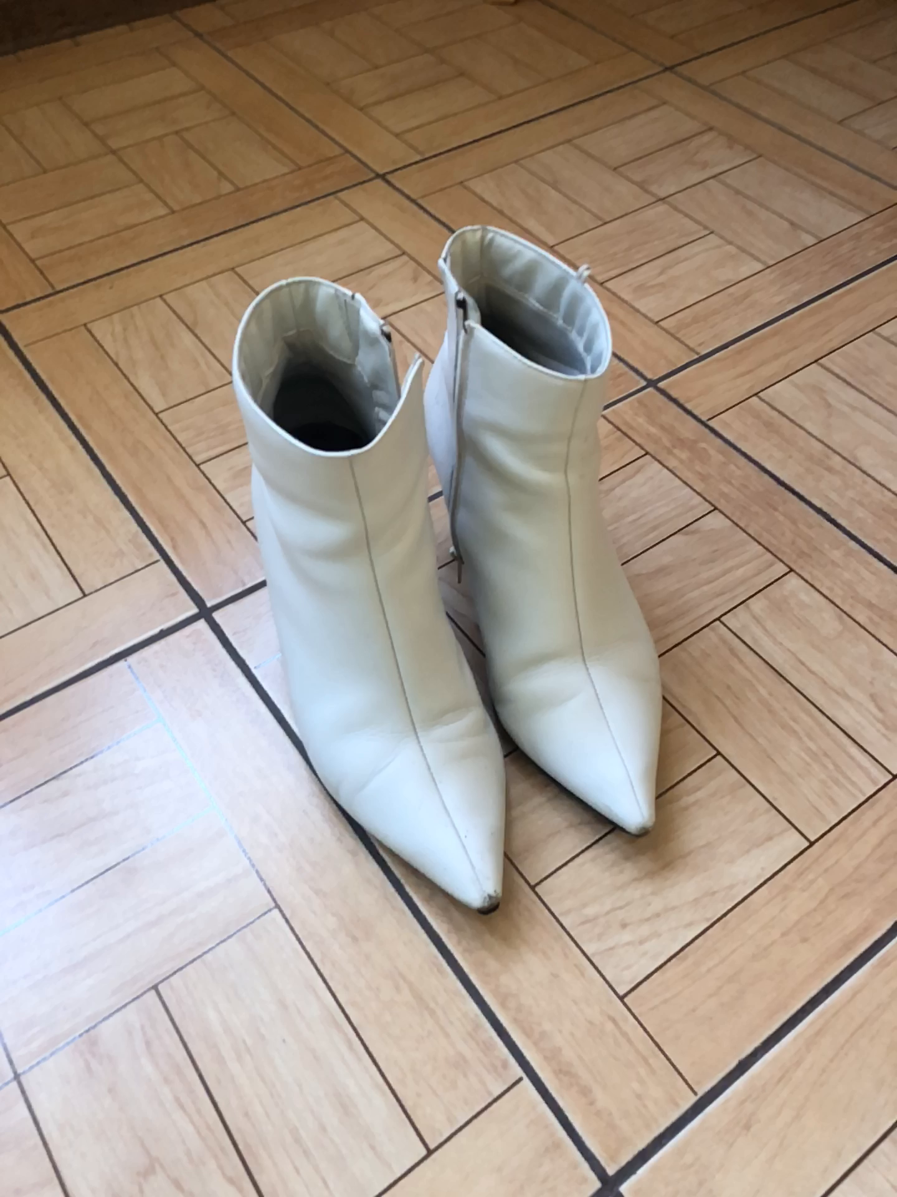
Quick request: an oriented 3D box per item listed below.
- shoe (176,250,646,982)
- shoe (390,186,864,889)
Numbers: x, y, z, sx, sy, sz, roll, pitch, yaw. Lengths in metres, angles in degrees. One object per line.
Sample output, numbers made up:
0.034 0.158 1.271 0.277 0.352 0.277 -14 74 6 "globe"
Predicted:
-0.030 -0.002 0.419 0.100 0.154 0.254 -14 53 -12 "shoe"
0.051 -0.039 0.448 0.100 0.154 0.274 -10 52 -8 "shoe"
